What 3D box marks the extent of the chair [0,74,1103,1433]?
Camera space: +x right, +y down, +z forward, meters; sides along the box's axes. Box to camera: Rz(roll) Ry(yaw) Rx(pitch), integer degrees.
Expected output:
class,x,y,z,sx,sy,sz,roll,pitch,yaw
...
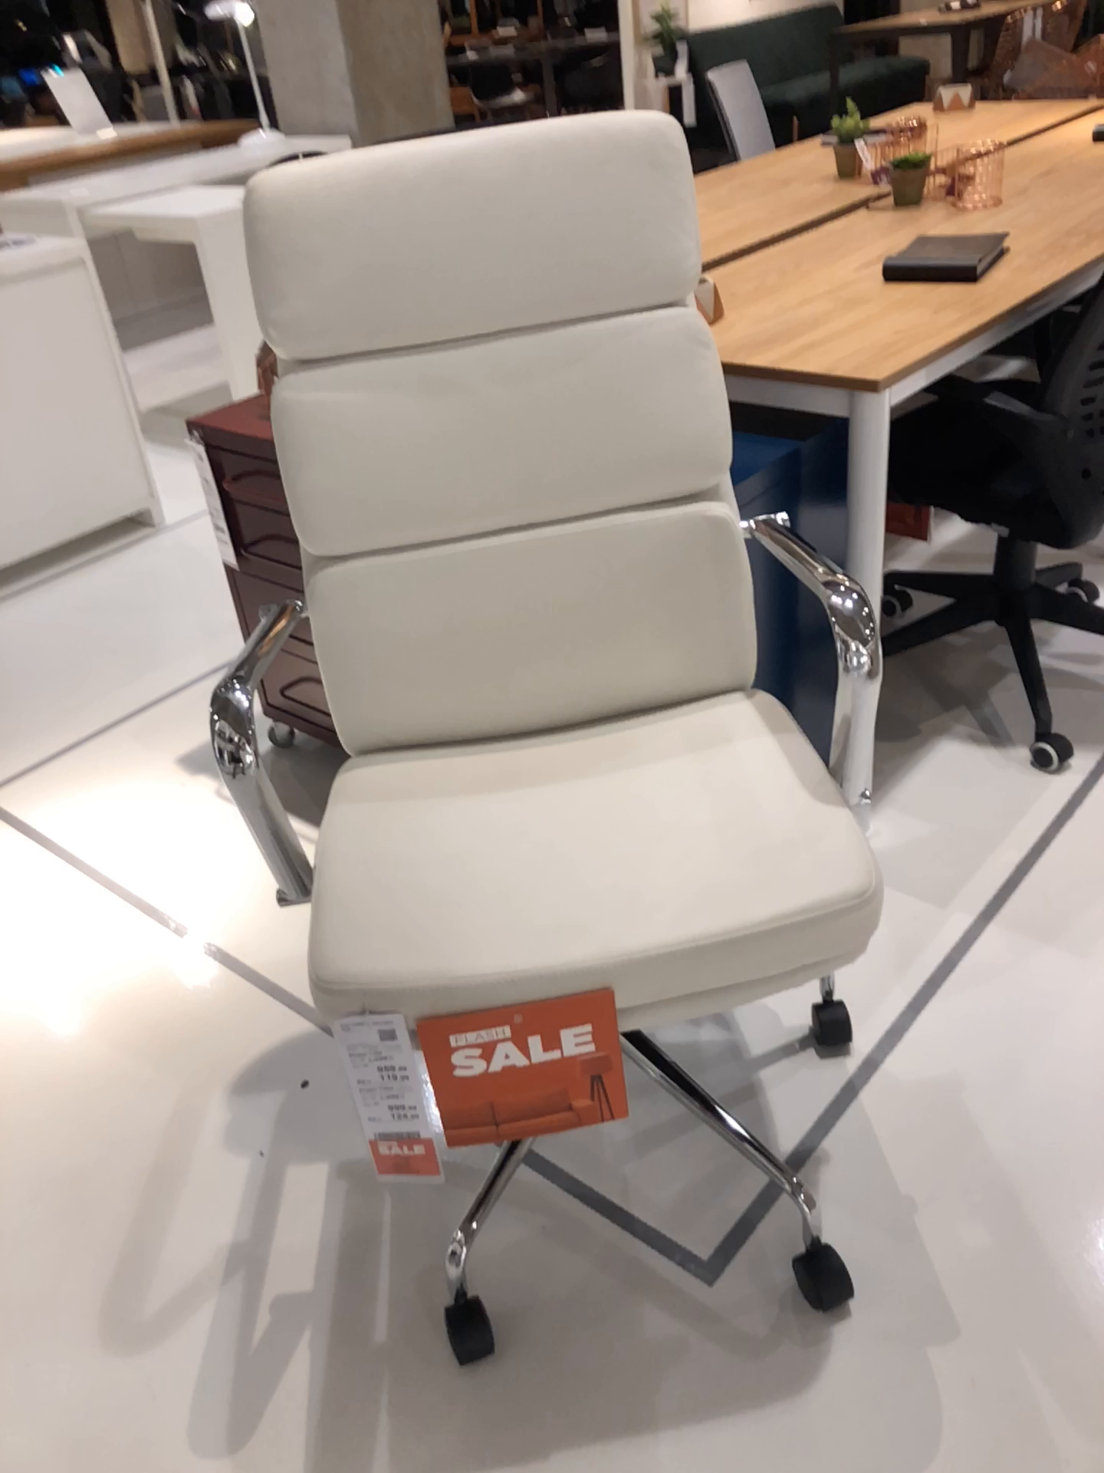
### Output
class,x,y,z,sx,sy,sz,roll,pitch,yaw
chair,0.044,-0.003,1.156,0.660,1.012,0.655,-9,31,-3
